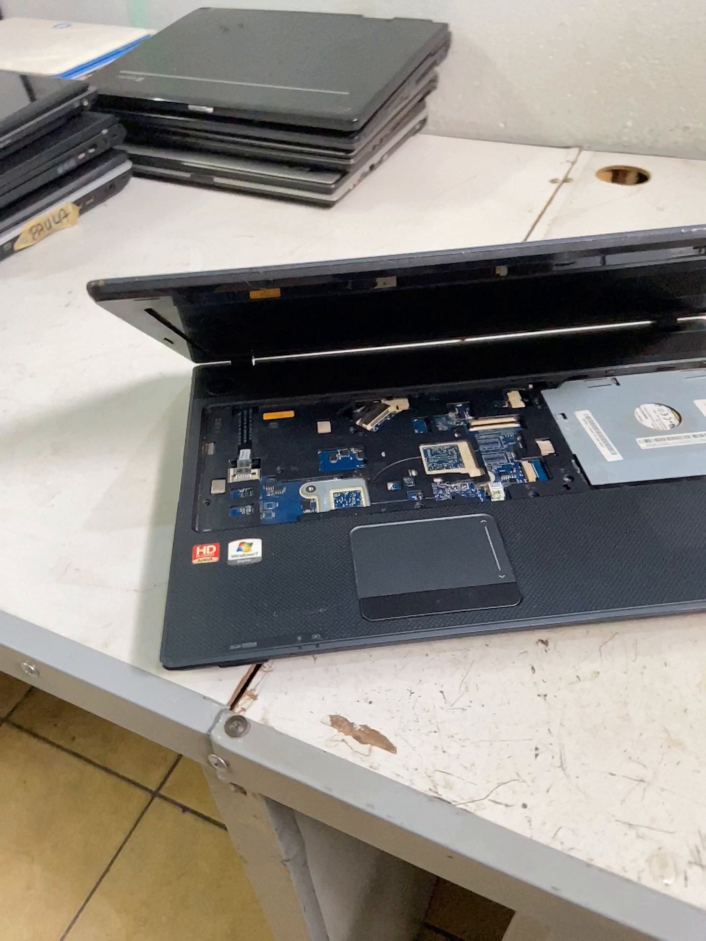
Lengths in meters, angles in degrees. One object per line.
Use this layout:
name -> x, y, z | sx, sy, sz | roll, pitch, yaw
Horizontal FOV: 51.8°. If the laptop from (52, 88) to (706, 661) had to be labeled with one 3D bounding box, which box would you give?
laptop -> 0.081, -0.067, 0.378 | 0.370, 0.156, 0.240 | -6, 41, -2
